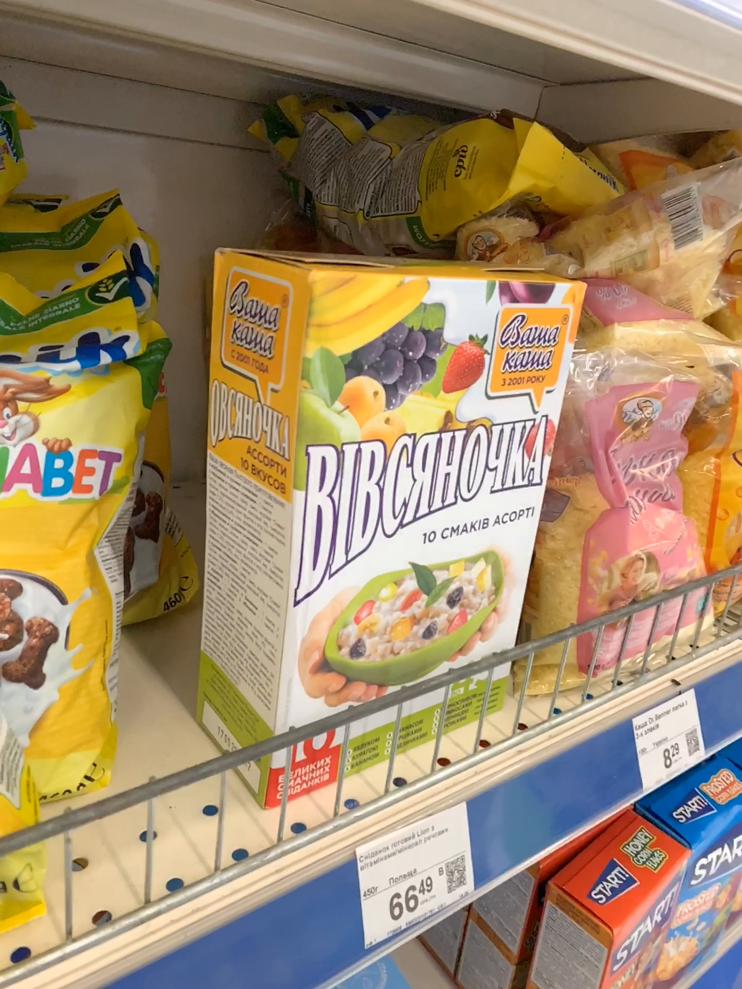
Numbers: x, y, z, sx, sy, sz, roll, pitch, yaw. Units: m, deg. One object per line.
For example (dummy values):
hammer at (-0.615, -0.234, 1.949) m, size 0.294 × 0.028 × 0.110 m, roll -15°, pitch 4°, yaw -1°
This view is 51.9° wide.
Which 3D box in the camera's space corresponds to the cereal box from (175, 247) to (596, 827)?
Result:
cereal box at (0.002, 0.009, 0.331) m, size 0.150 × 0.209 × 0.070 m, roll -9°, pitch 24°, yaw -35°
